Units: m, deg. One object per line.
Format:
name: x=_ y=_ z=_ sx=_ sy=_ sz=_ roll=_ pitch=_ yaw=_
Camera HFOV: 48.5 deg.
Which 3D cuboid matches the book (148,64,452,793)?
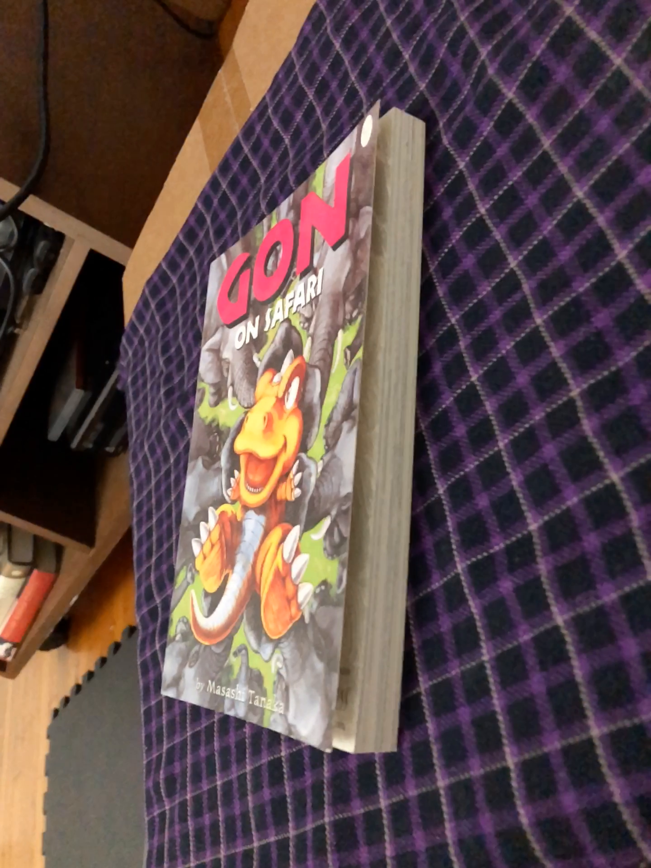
book: x=-0.016 y=0.000 z=0.267 sx=0.151 sy=0.020 sz=0.210 roll=-18 pitch=64 yaw=55
